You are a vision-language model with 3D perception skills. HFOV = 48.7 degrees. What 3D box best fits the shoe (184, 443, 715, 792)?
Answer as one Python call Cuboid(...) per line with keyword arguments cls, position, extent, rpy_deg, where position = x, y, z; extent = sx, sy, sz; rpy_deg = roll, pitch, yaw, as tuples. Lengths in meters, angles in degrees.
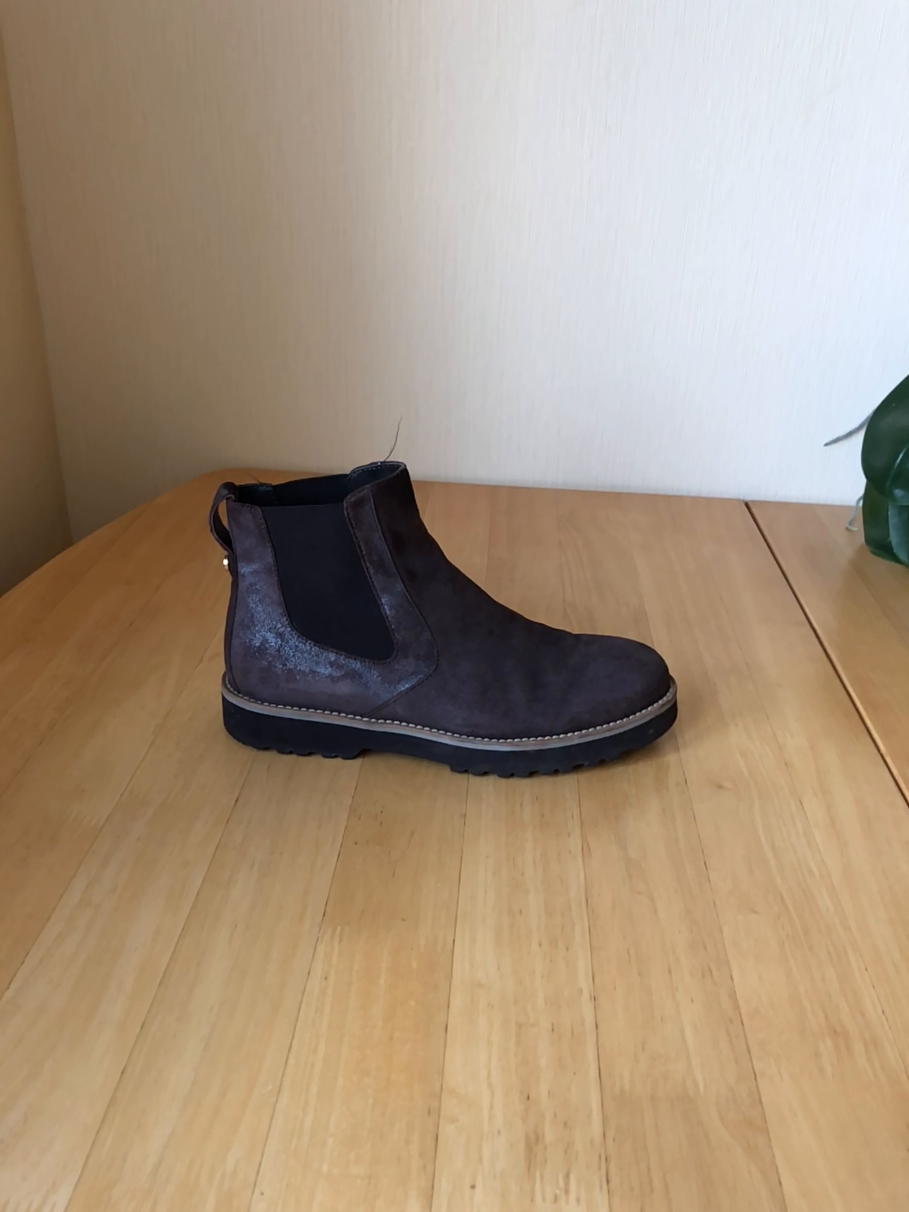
Cuboid(cls="shoe", position=(-0.001, 0.001, 0.485), extent=(0.220, 0.120, 0.100), rpy_deg=(4, 26, 4))
